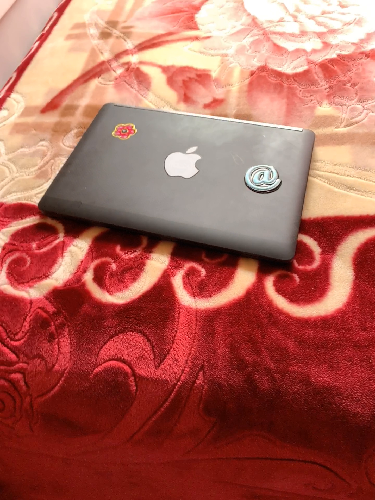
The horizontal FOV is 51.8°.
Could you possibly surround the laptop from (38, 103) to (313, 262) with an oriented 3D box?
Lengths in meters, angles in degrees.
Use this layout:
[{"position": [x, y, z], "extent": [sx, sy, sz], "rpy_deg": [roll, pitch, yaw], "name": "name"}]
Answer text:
[{"position": [-0.007, -0.103, 0.483], "extent": [0.299, 0.001, 0.209], "rpy_deg": [12, 57, 13], "name": "laptop"}]
